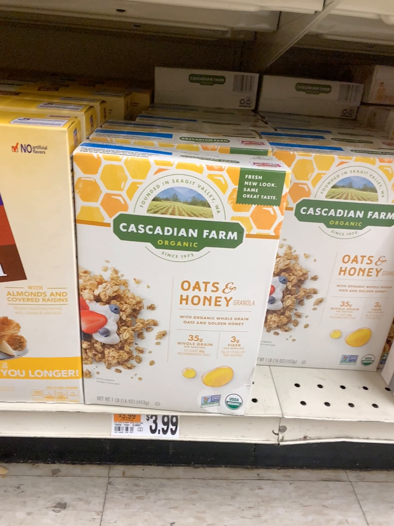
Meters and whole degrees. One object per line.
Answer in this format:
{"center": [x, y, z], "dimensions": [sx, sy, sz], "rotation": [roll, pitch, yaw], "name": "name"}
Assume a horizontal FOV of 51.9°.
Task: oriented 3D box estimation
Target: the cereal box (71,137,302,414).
{"center": [-0.016, 0.019, 0.356], "dimensions": [0.160, 0.229, 0.060], "rotation": [5, 26, -1], "name": "cereal box"}
